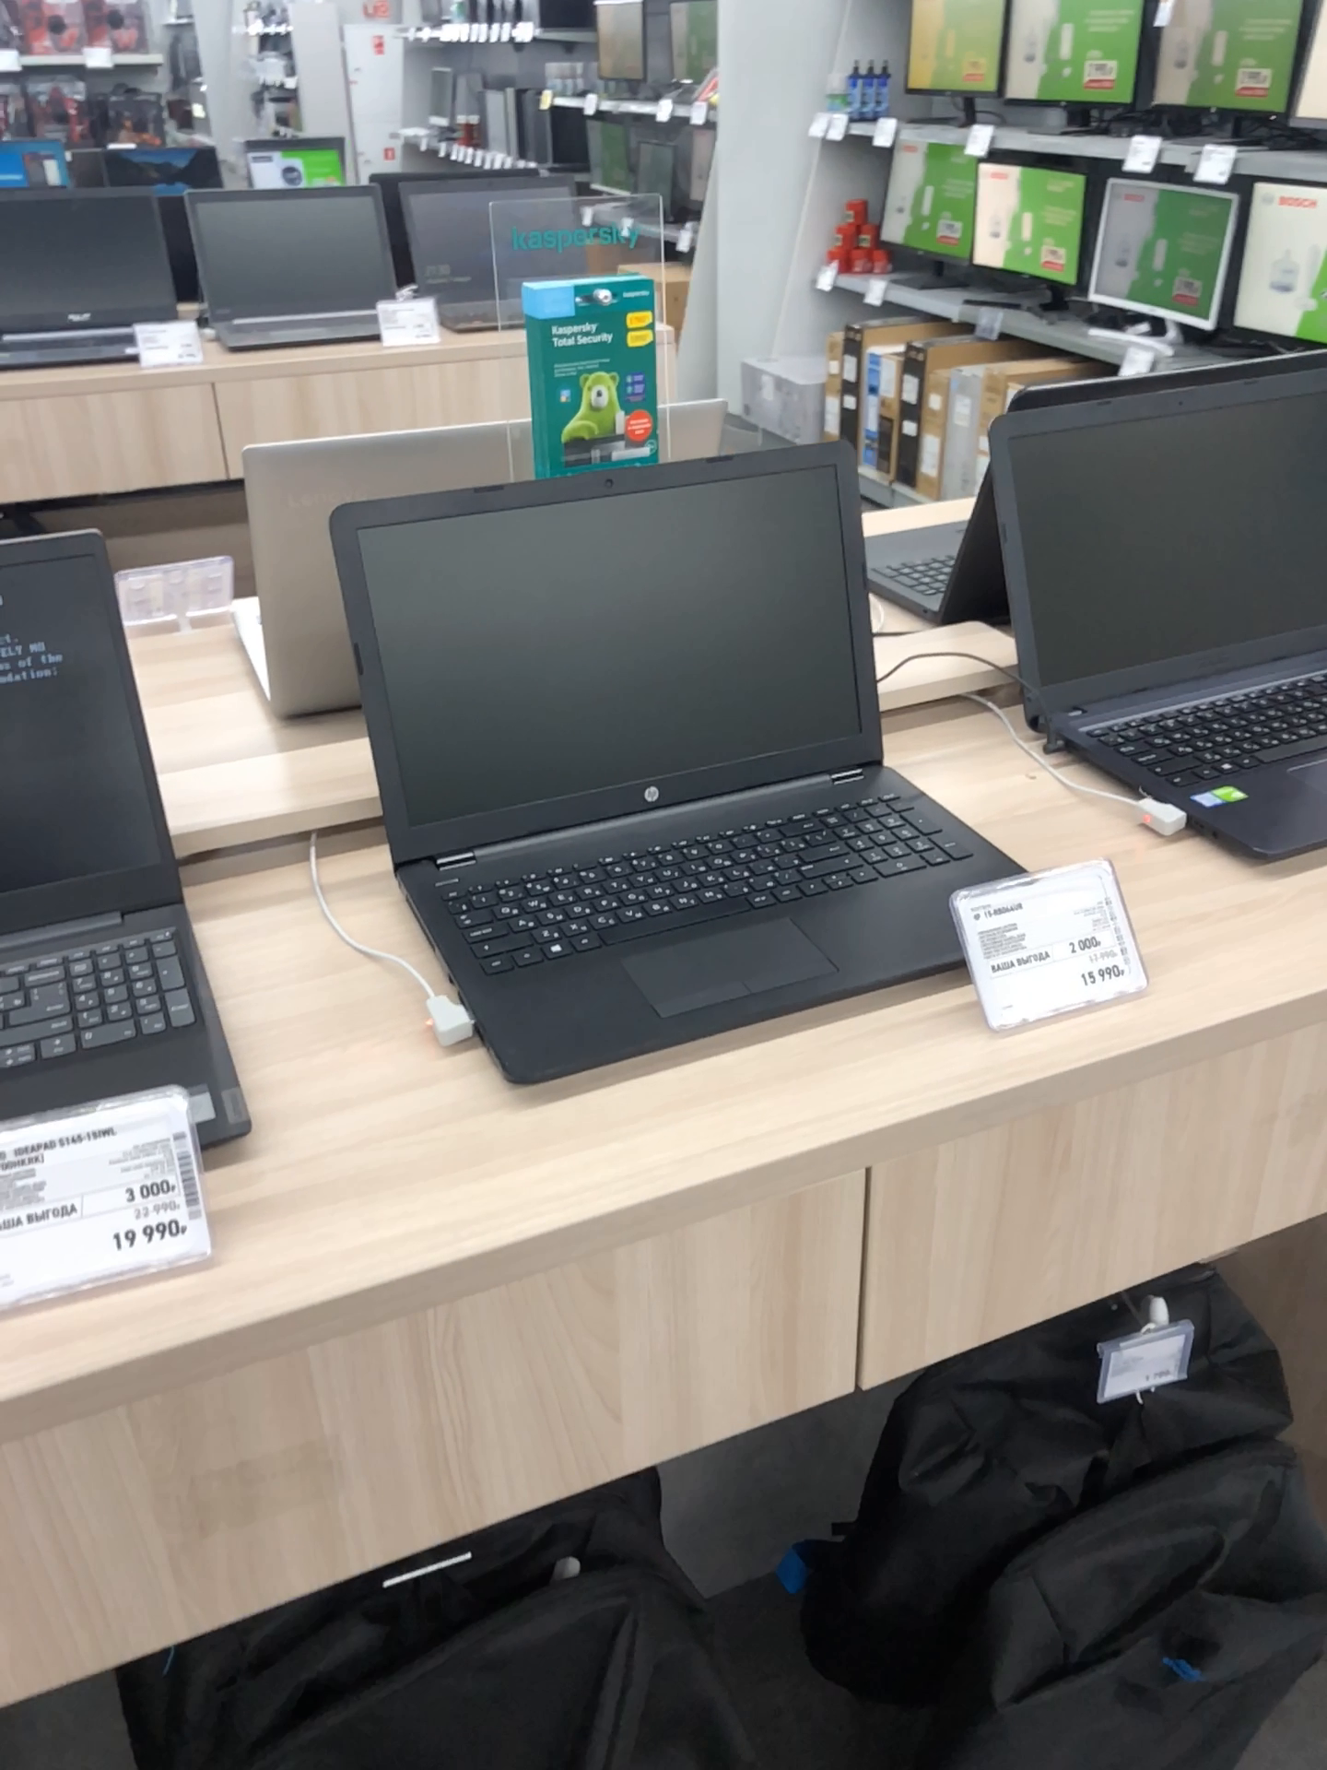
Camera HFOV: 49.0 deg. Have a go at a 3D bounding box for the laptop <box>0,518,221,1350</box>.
[{"bbox_3d":[-0.434,-0.015,0.743,0.332,0.213,0.328,-13,32,-21],"label":"laptop"}]

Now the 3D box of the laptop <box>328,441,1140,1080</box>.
[{"bbox_3d":[0.026,-0.106,0.891,0.367,0.216,0.313,-13,32,-21],"label":"laptop"}]

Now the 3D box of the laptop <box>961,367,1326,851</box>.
[{"bbox_3d":[0.489,-0.231,1.093,0.369,0.209,0.335,-14,34,-23],"label":"laptop"}]
